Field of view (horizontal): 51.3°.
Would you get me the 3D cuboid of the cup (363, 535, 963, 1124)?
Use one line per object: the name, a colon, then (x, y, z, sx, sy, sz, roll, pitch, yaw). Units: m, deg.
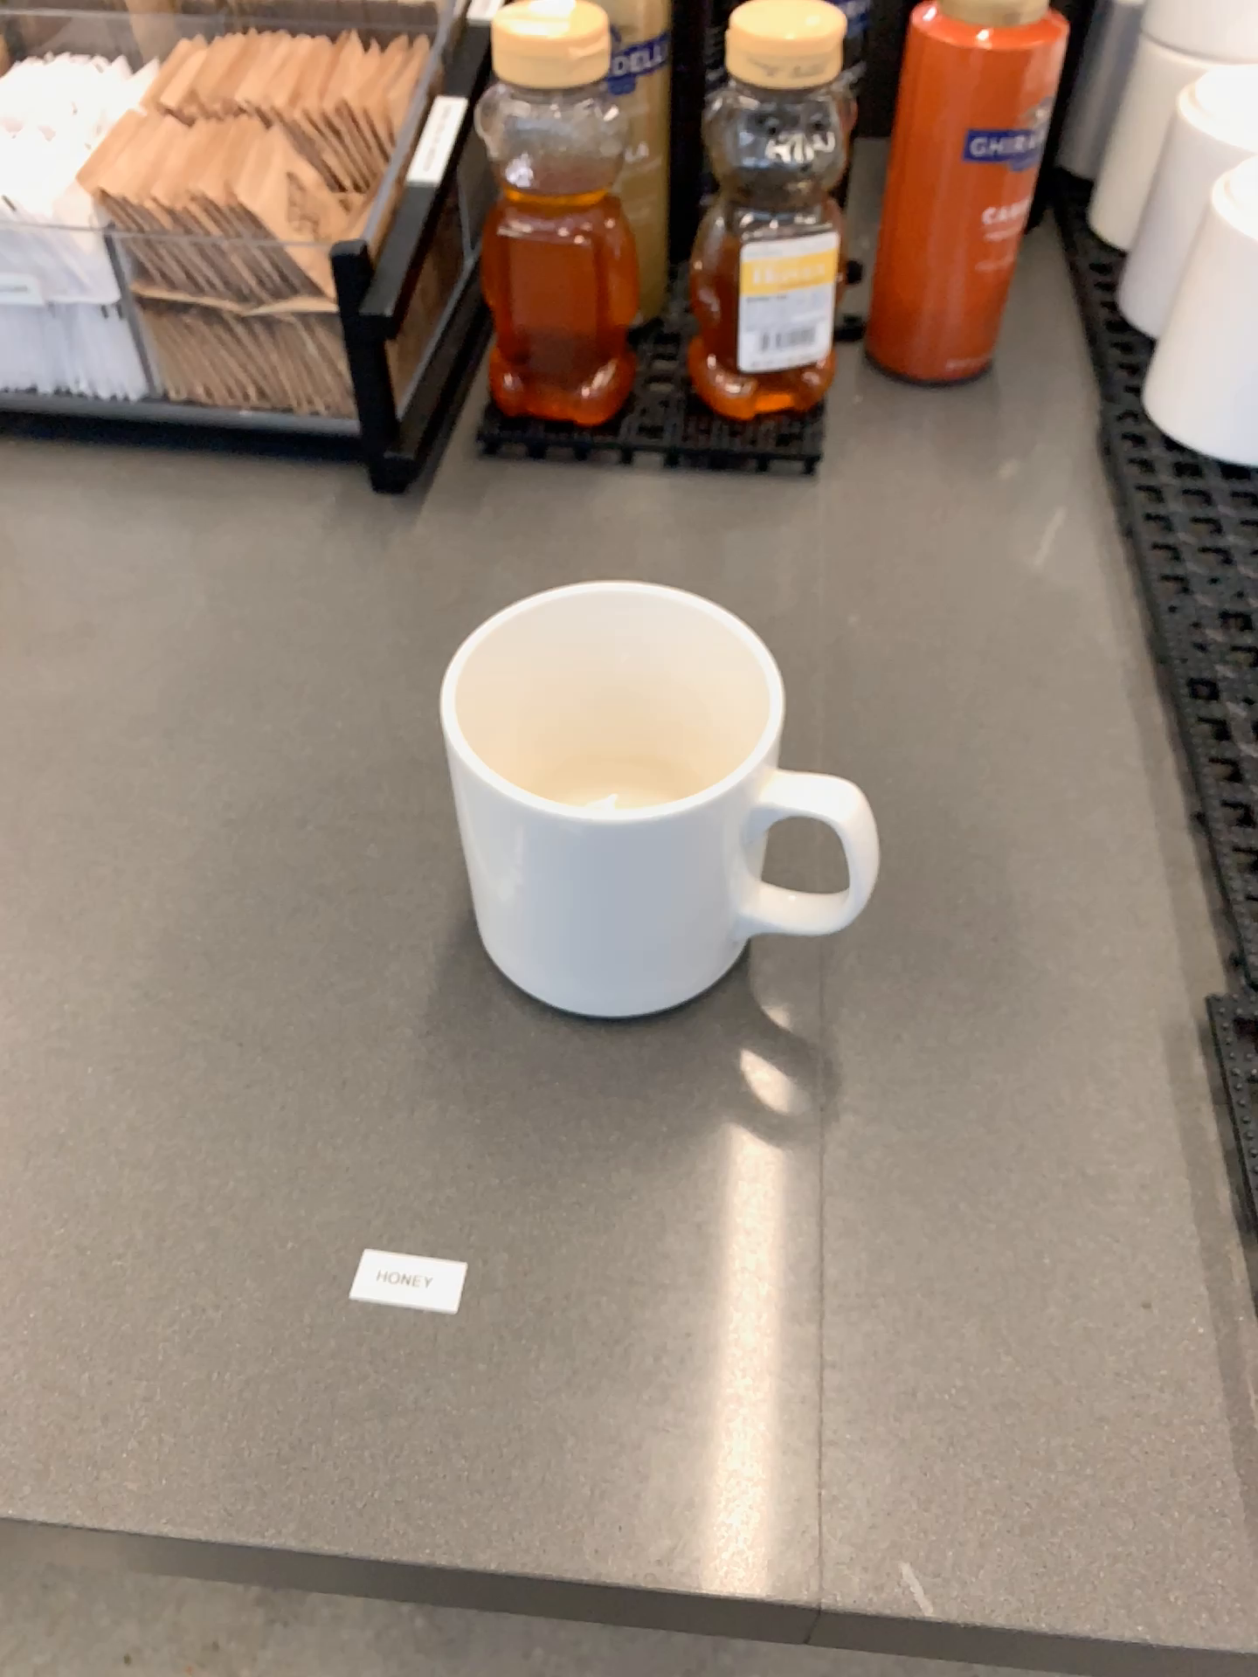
cup: (0.011, -0.005, 0.352, 0.120, 0.090, 0.090, 19, 51, 16)
